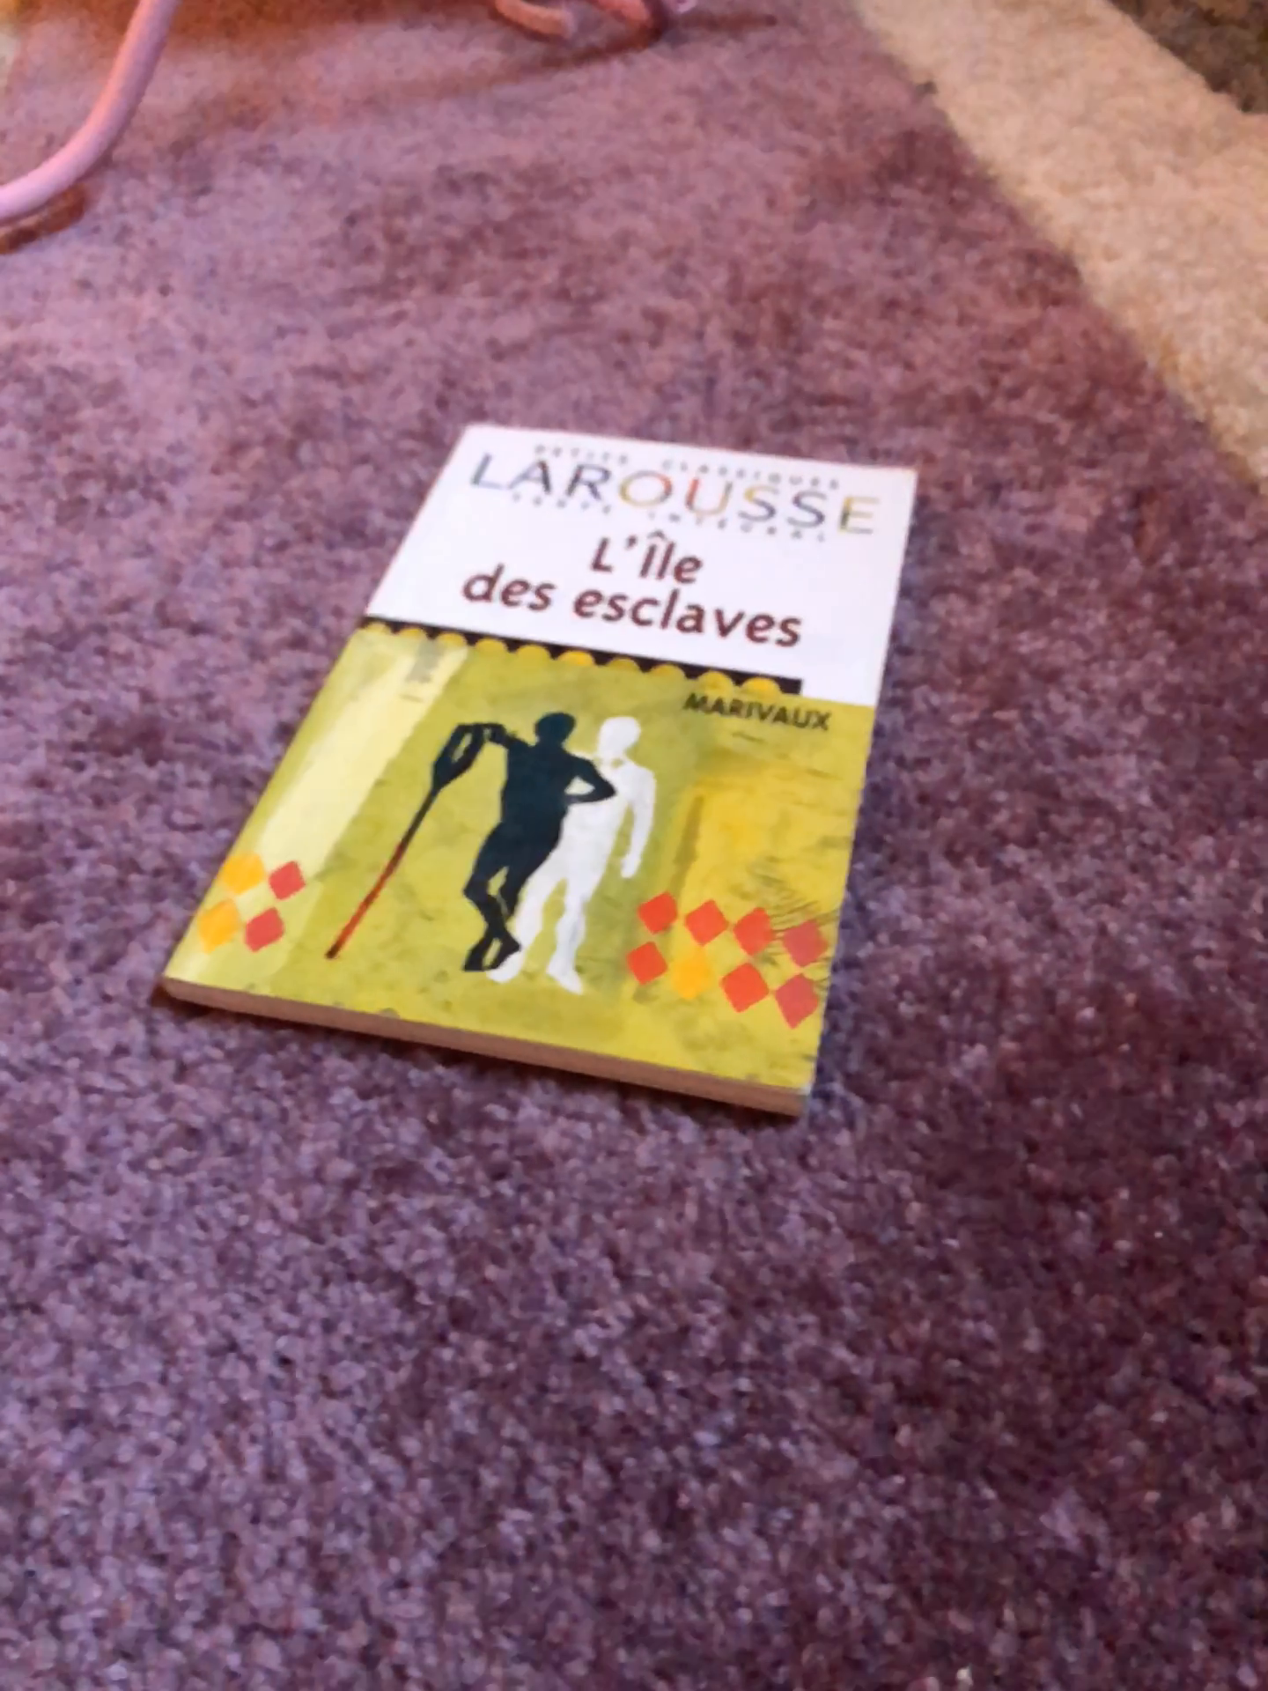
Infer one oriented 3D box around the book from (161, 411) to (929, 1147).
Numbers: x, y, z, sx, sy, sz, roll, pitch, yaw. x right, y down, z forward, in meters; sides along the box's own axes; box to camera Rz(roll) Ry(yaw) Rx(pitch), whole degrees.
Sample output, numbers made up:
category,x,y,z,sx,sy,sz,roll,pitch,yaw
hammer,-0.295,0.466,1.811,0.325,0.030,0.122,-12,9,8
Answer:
category,x,y,z,sx,sy,sz,roll,pitch,yaw
book,-0.005,-0.028,0.284,0.109,0.020,0.167,9,49,9
